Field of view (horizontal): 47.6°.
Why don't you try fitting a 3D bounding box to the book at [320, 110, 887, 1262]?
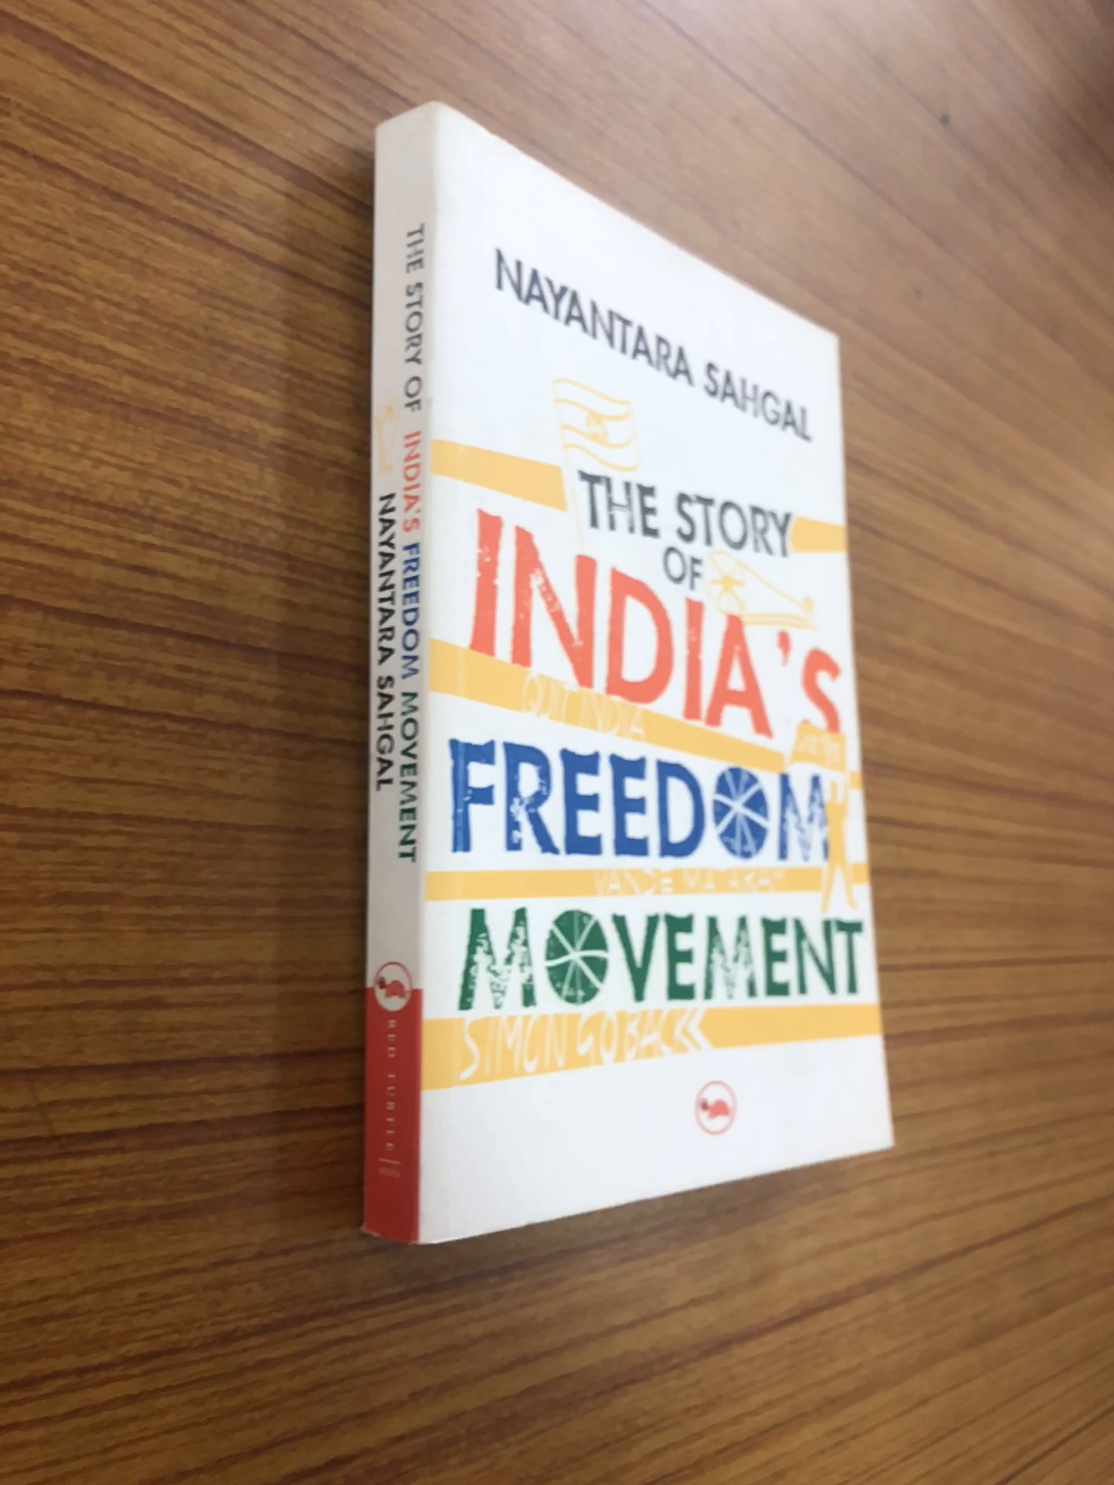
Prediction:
[{"bbox_3d":[0.016,-0.007,0.261,0.131,0.030,0.190,8,78,-45],"label":"book"}]
